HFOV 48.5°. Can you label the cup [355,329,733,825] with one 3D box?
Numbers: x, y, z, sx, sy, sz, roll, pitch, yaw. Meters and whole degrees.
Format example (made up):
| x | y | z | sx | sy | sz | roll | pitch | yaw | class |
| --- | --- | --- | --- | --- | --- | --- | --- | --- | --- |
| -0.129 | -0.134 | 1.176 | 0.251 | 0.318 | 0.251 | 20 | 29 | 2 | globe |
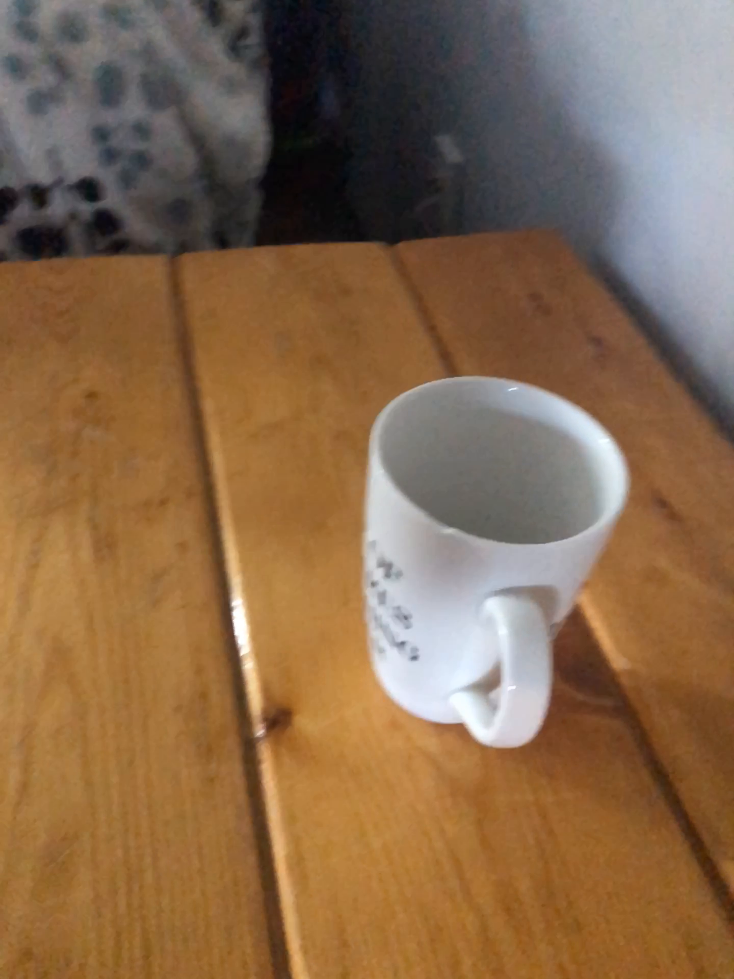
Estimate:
| x | y | z | sx | sy | sz | roll | pitch | yaw | class |
| --- | --- | --- | --- | --- | --- | --- | --- | --- | --- |
| 0.050 | 0.031 | 0.308 | 0.100 | 0.120 | 0.140 | 0 | 45 | -4 | cup |
